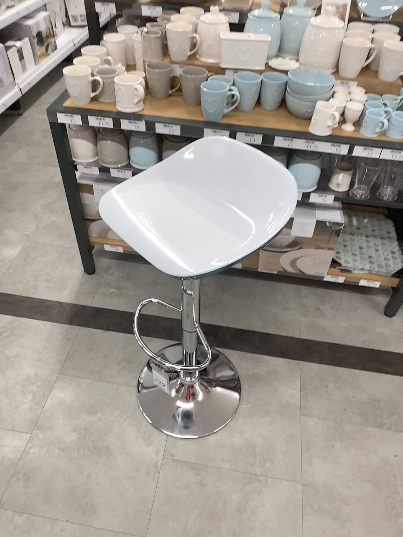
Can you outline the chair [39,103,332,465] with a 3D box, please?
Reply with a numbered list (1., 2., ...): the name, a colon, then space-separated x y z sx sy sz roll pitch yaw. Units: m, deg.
1. chair: -0.049 0.074 1.157 0.422 0.825 0.457 -32 54 -29
